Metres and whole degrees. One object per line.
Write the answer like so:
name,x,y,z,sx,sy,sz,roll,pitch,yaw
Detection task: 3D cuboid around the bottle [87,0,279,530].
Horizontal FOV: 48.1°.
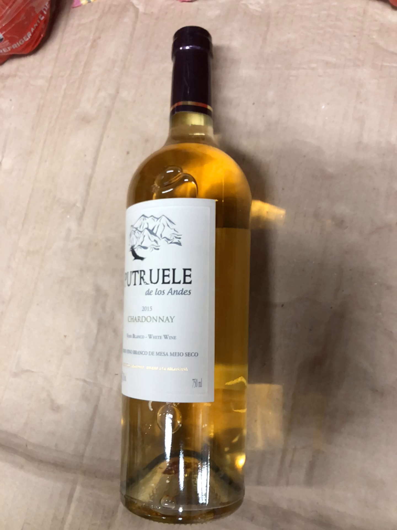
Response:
bottle,-0.004,-0.013,0.270,0.080,0.070,0.300,-5,79,33
